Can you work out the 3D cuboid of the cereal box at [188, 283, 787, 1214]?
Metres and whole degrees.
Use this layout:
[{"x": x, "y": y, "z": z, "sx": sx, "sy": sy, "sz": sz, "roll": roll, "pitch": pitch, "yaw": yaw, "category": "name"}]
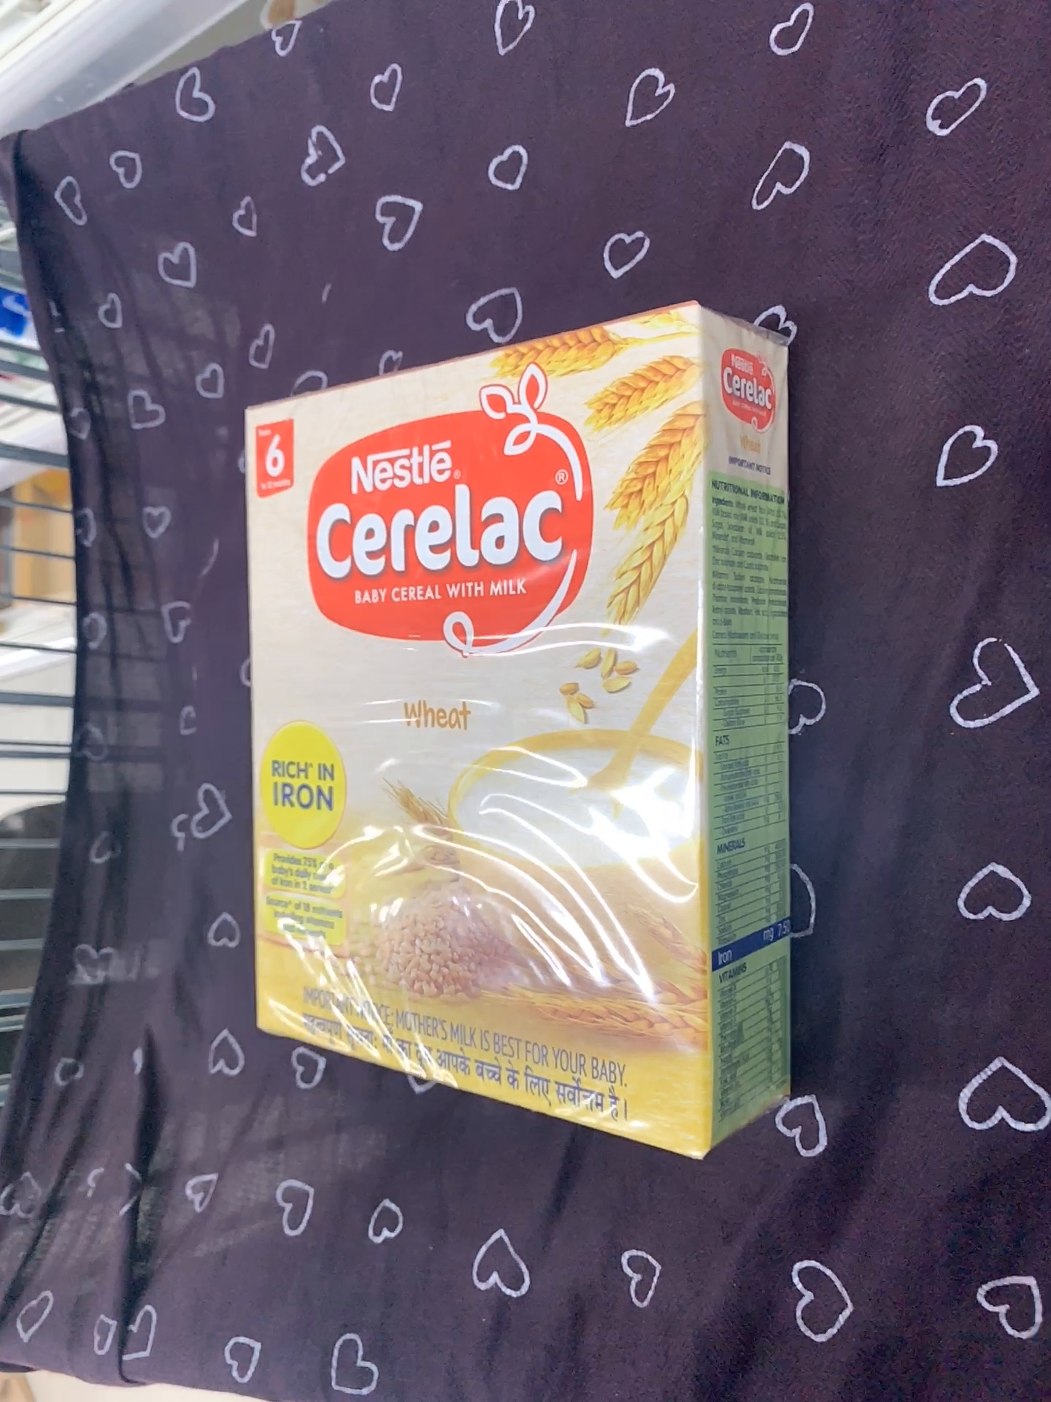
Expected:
[{"x": -0.015, "y": 0.008, "z": 0.246, "sx": 0.141, "sy": 0.040, "sz": 0.160, "roll": 1, "pitch": 93, "yaw": 38, "category": "cereal box"}]
